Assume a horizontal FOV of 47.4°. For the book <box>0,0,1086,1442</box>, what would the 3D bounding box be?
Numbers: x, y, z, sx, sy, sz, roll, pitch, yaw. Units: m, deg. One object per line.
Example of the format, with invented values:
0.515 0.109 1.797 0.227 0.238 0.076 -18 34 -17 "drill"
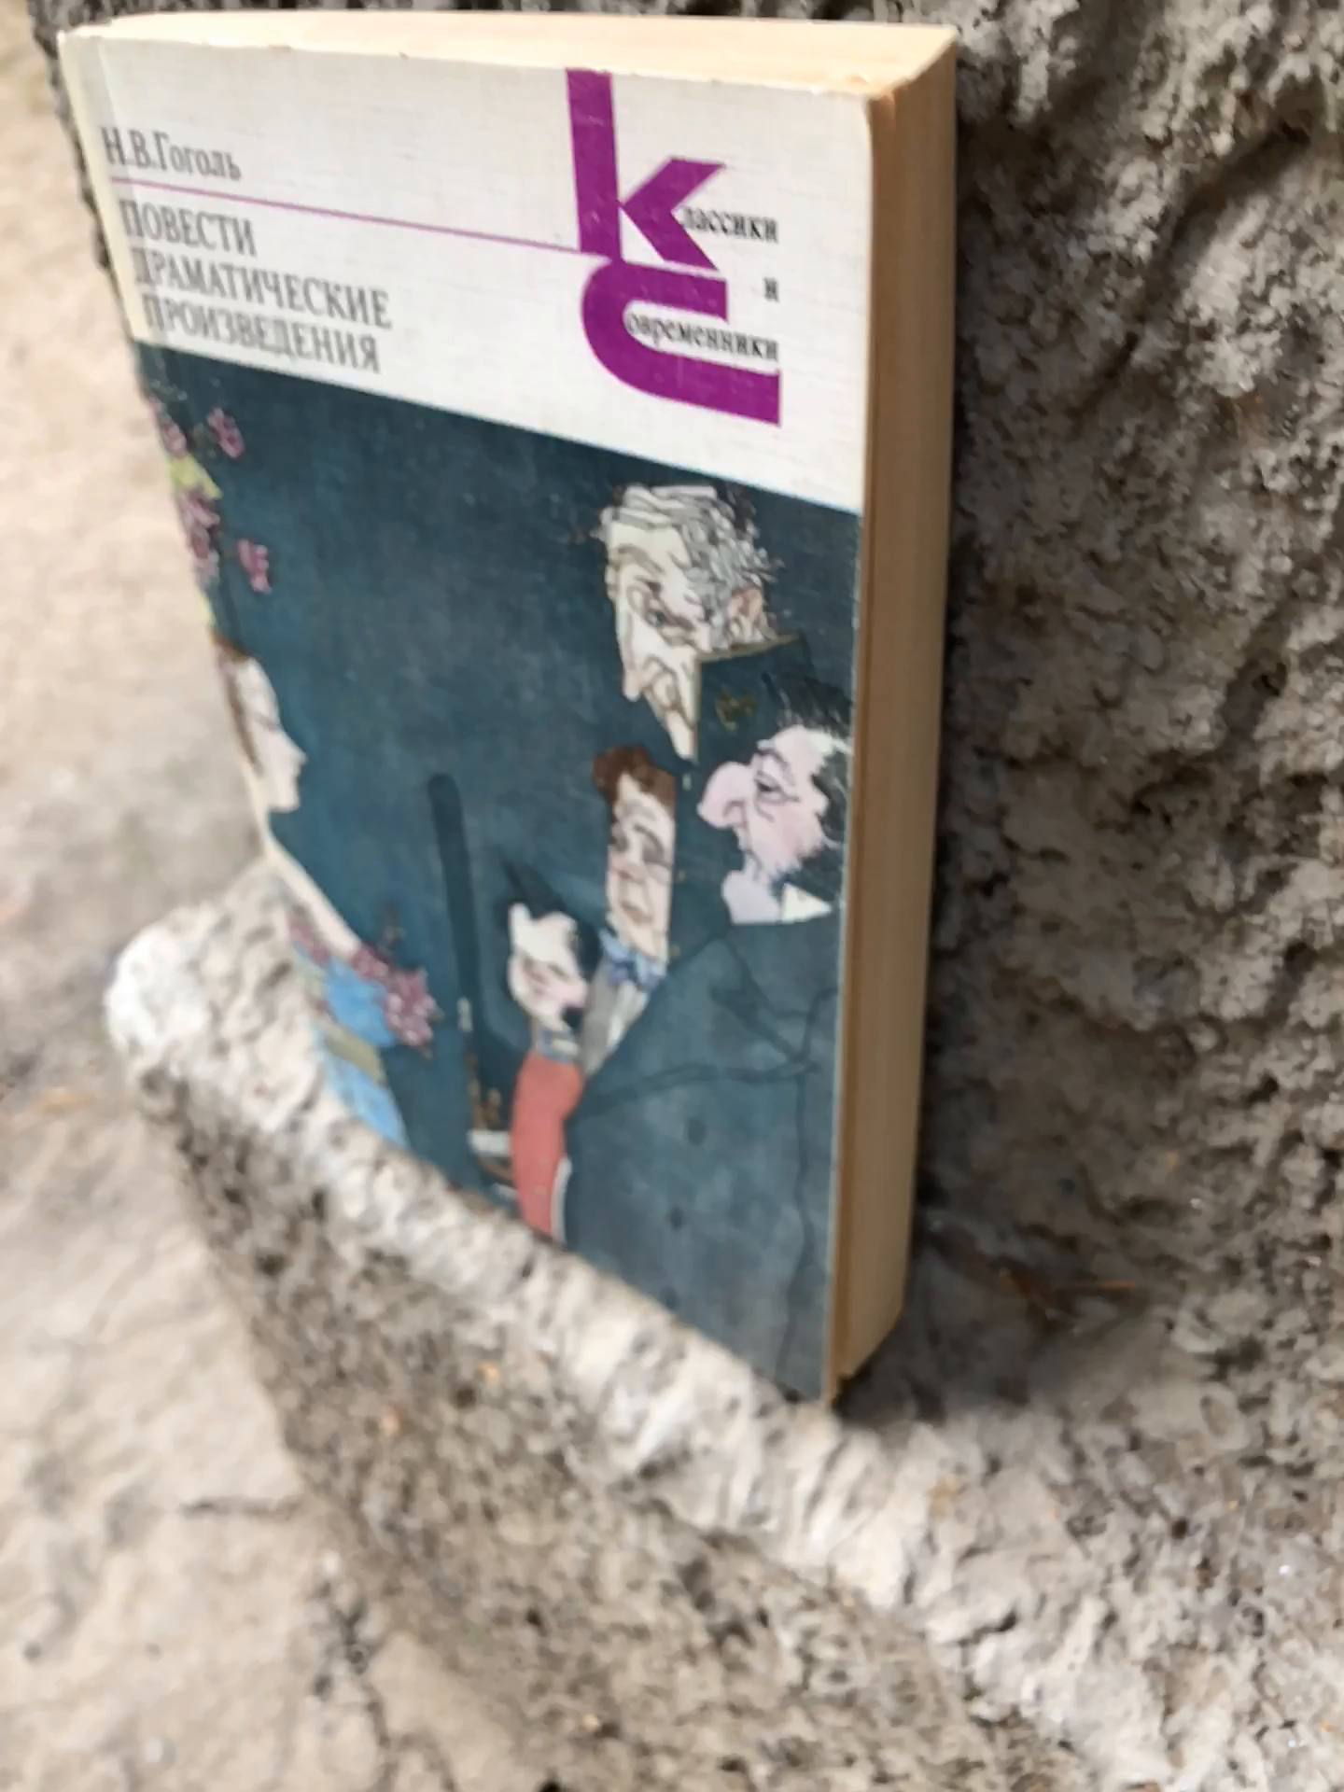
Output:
-0.024 -0.023 0.223 0.137 0.190 0.030 21 41 28 "book"
